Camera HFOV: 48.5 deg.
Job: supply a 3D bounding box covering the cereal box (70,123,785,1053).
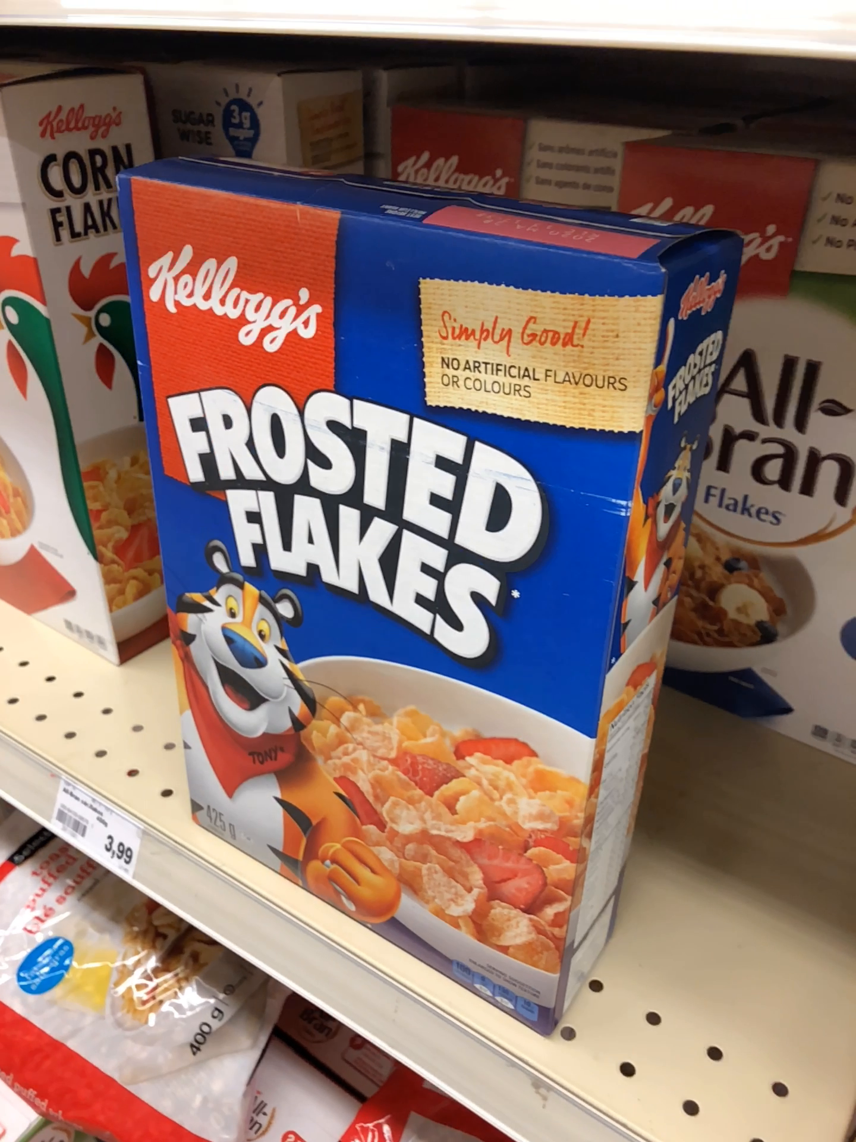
[{"bbox_3d":[-0.017,0.002,0.339,0.211,0.278,0.060,21,34,30],"label":"cereal box"}]
